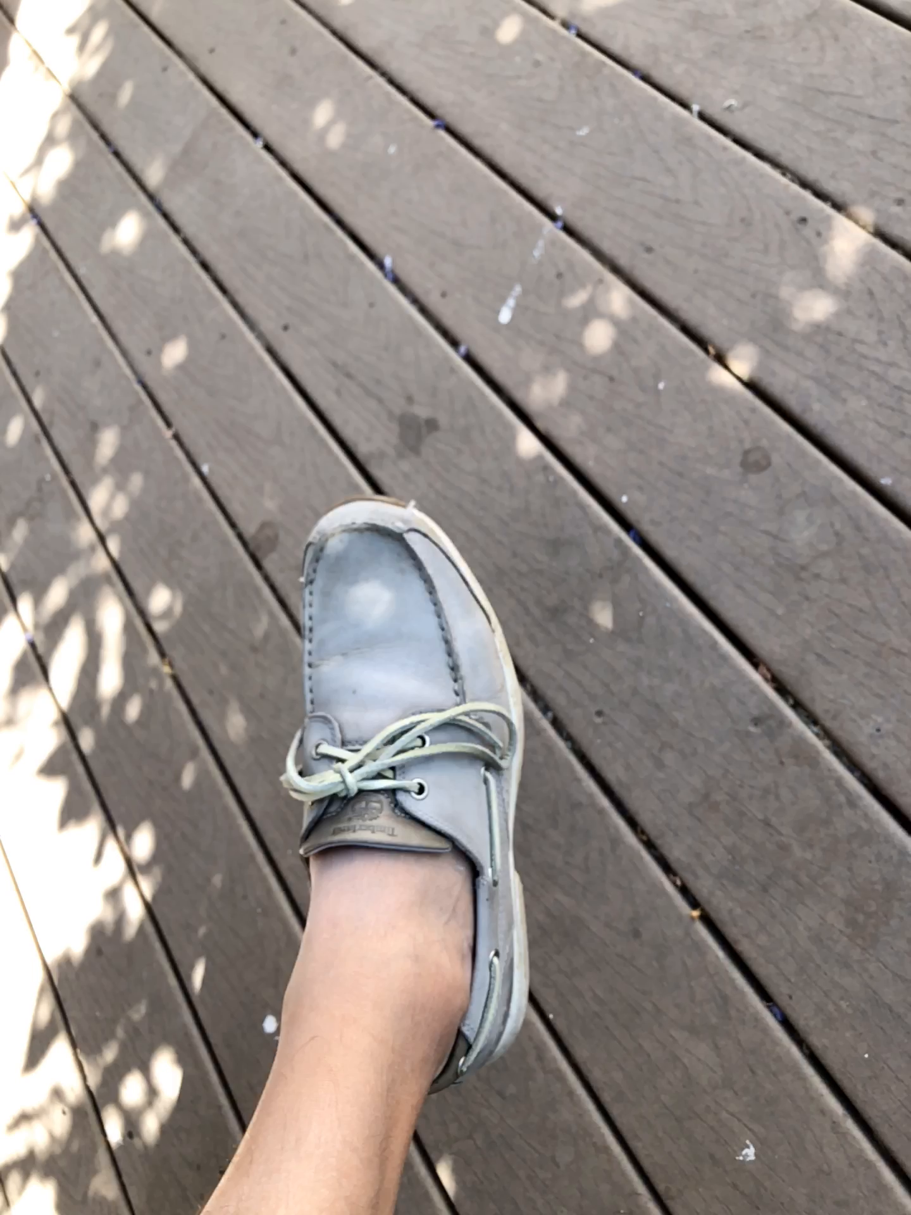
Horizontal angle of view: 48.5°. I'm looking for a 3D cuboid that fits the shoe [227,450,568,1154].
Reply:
[{"bbox_3d":[-0.031,0.090,0.510,0.115,0.085,0.306,-10,82,29],"label":"shoe"}]
